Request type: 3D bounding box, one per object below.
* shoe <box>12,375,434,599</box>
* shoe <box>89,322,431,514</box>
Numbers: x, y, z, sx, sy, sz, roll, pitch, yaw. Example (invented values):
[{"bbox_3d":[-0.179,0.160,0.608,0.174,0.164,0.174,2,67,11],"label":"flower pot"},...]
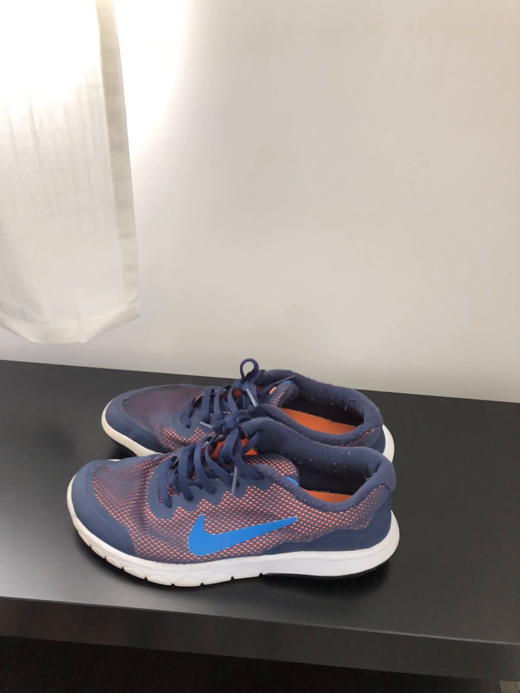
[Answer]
[{"bbox_3d":[-0.024,0.101,0.428,0.260,0.089,0.120,3,34,-2],"label":"shoe"},{"bbox_3d":[0.001,0.058,0.498,0.260,0.089,0.100,7,34,4],"label":"shoe"}]
